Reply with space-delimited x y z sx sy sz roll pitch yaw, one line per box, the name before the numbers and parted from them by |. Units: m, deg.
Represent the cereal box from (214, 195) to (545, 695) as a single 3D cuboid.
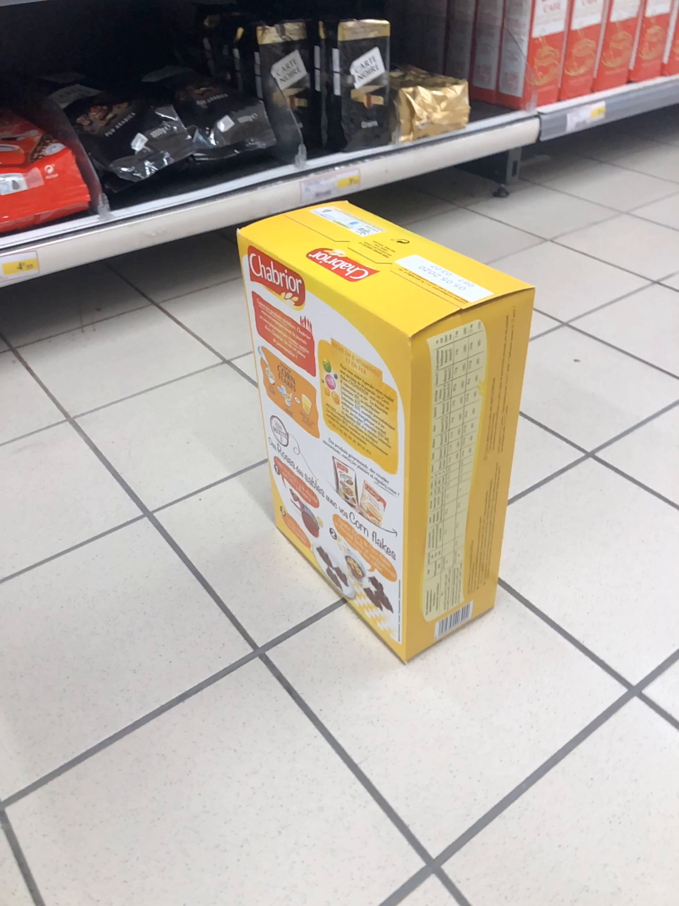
cereal box | 0.020 -0.007 0.579 0.110 0.308 0.210 -24 43 -27
